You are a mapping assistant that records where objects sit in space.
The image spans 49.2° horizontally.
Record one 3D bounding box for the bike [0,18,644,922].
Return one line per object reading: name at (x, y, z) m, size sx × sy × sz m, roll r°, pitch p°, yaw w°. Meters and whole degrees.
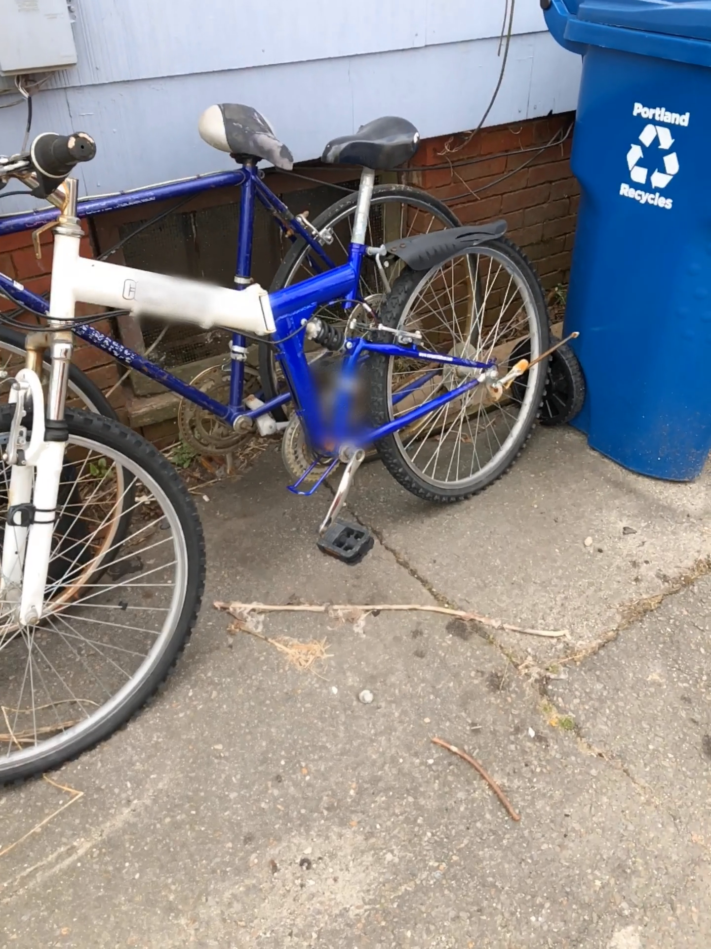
bike at (-0.242, -0.192, 1.575) m, size 1.733 × 0.978 × 0.564 m, roll -32°, pitch 46°, yaw -31°
